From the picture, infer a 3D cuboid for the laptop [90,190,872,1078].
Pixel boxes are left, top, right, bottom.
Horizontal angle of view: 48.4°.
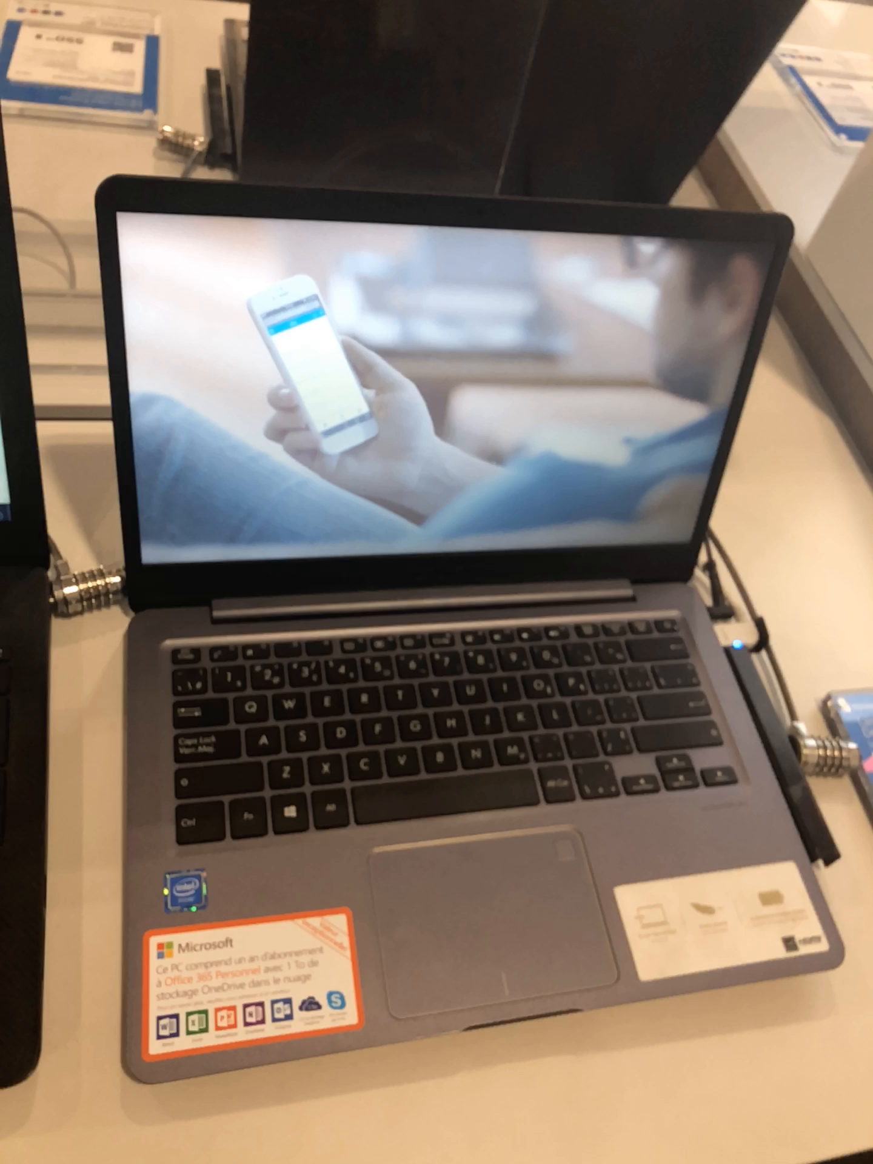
[{"bbox_3d":[0.030,0.009,0.425,0.316,0.197,0.292,-3,54,-15],"label":"laptop"}]
